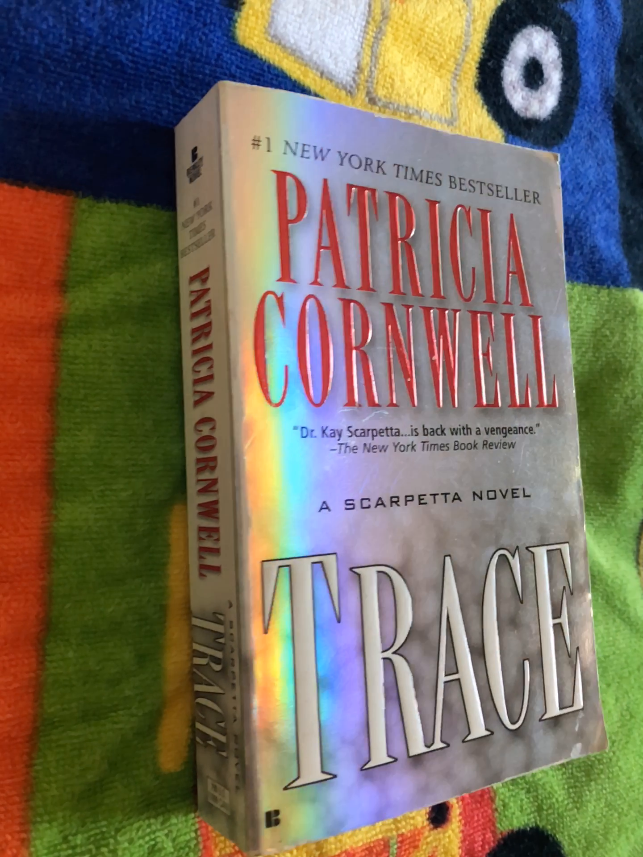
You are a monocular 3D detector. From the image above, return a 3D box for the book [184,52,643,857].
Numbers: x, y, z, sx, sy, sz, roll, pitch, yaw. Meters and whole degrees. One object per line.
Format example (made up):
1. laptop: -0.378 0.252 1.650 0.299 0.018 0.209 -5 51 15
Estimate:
1. book: 0.029 0.008 0.197 0.120 0.040 0.180 0 84 -27
